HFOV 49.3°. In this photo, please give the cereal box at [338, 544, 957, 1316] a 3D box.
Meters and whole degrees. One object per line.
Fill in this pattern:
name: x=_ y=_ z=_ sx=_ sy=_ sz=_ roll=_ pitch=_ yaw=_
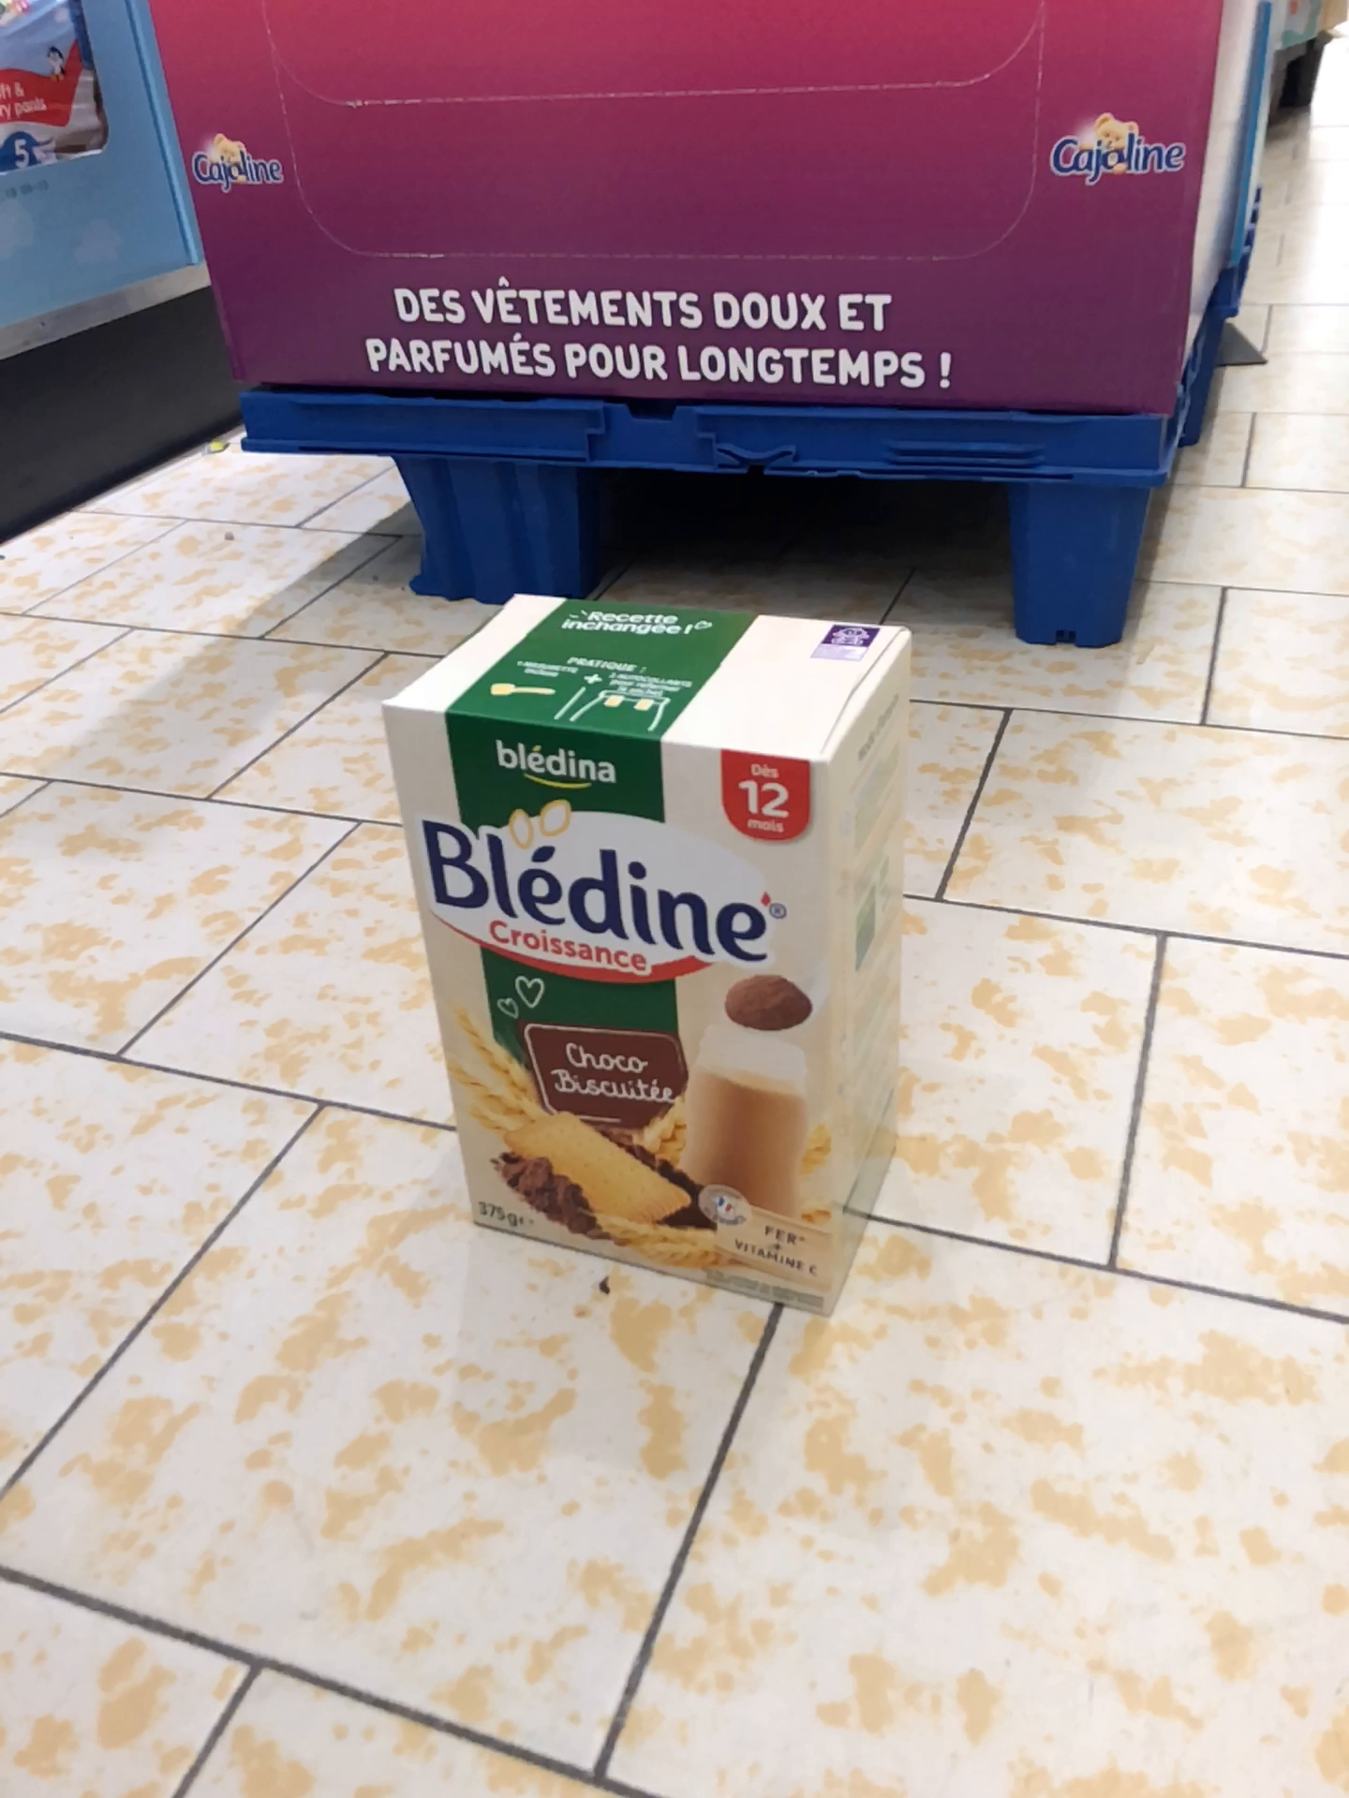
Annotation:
cereal box: x=0.001 y=0.007 z=0.405 sx=0.130 sy=0.179 sz=0.081 roll=9 pitch=35 yaw=21
